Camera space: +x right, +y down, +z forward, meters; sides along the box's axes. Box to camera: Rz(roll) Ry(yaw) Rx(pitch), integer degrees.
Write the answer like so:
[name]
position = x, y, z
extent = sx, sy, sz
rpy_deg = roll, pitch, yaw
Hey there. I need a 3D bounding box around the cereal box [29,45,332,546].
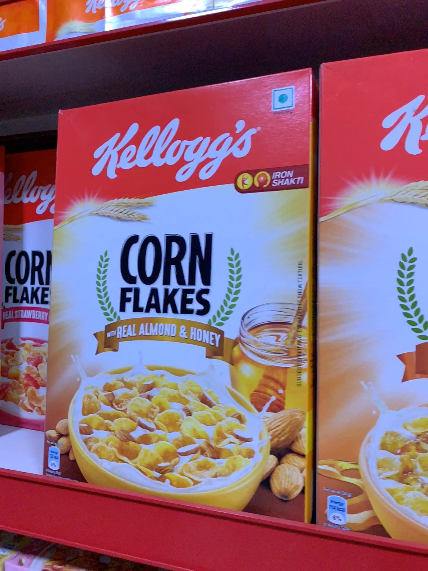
[cereal box]
position = -0.022, 0.003, 0.265
extent = 0.170, 0.230, 0.060
rpy_deg = 0, -1, 23
